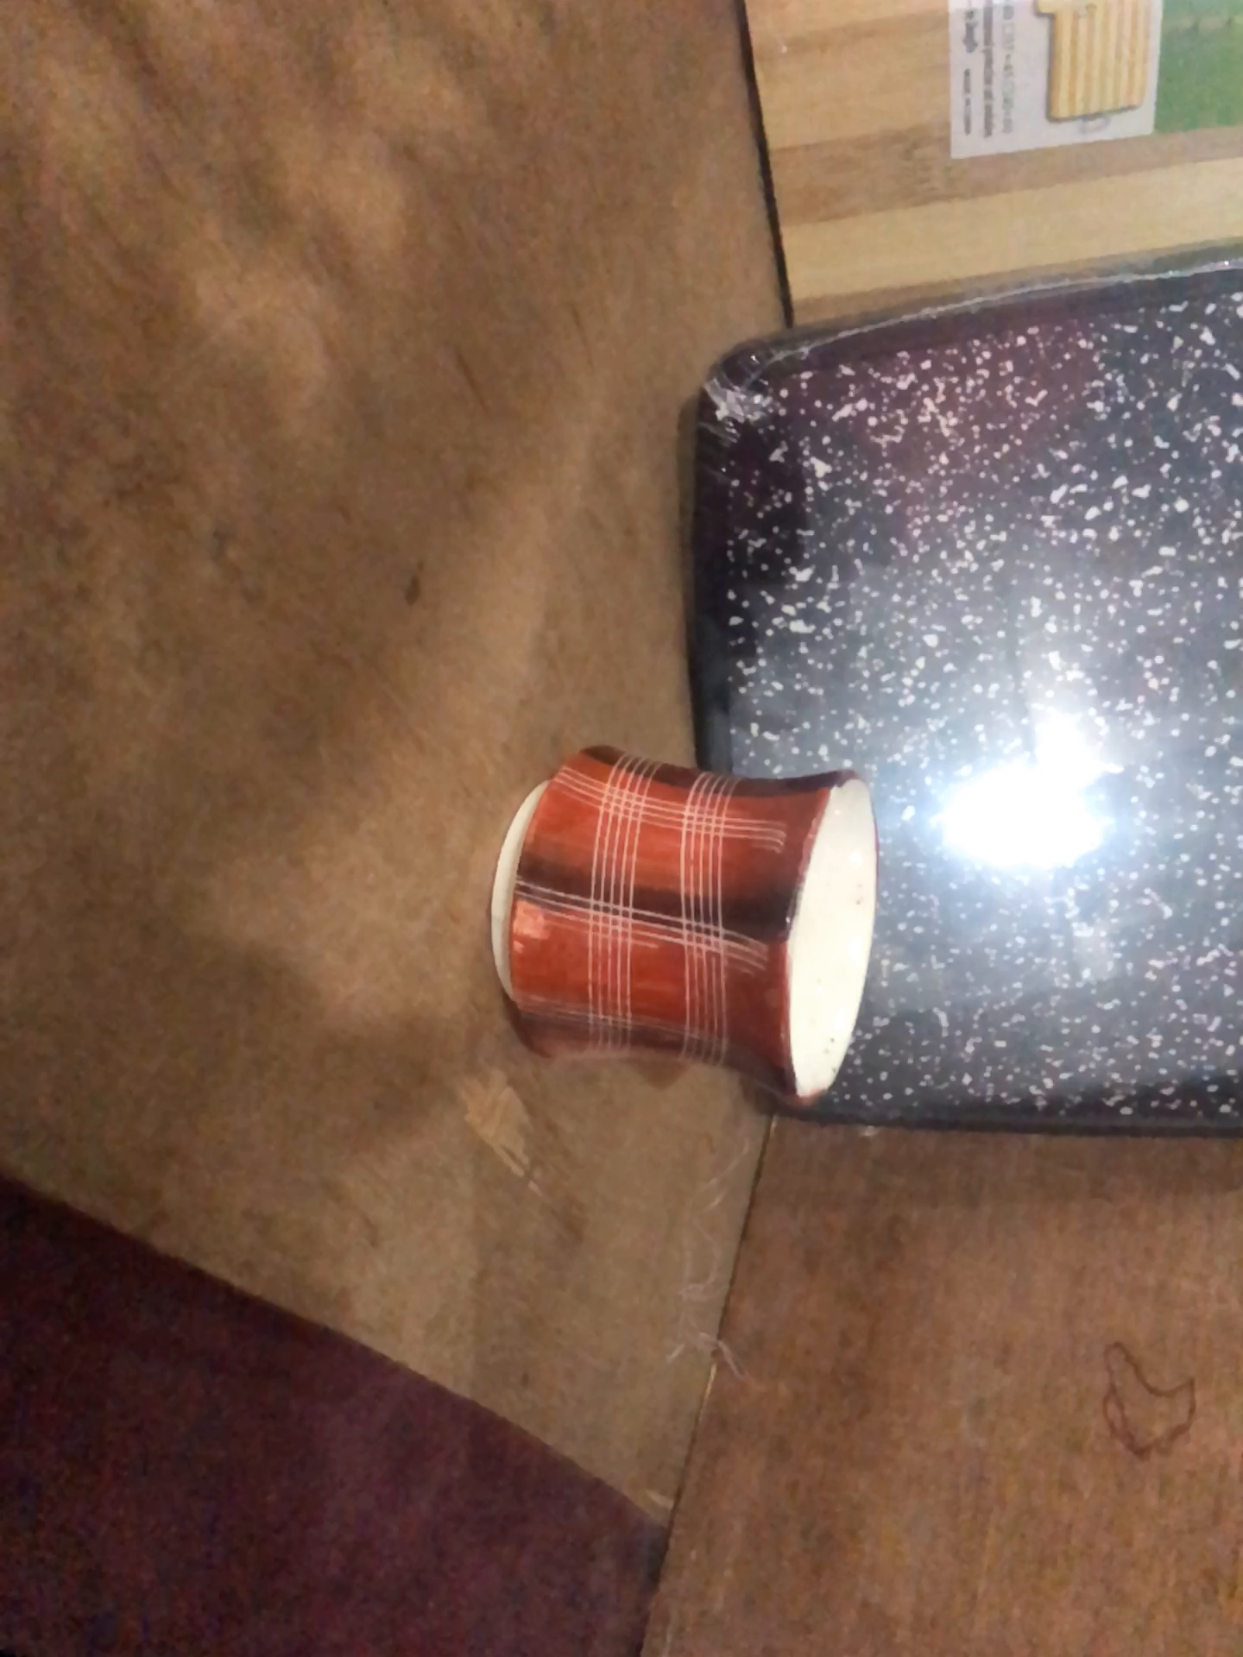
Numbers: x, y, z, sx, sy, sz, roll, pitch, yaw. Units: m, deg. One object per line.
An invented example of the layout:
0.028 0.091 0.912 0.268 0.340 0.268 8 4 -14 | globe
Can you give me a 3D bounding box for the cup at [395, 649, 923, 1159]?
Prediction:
0.014 0.017 0.258 0.091 0.060 0.060 50 51 -59 | cup
